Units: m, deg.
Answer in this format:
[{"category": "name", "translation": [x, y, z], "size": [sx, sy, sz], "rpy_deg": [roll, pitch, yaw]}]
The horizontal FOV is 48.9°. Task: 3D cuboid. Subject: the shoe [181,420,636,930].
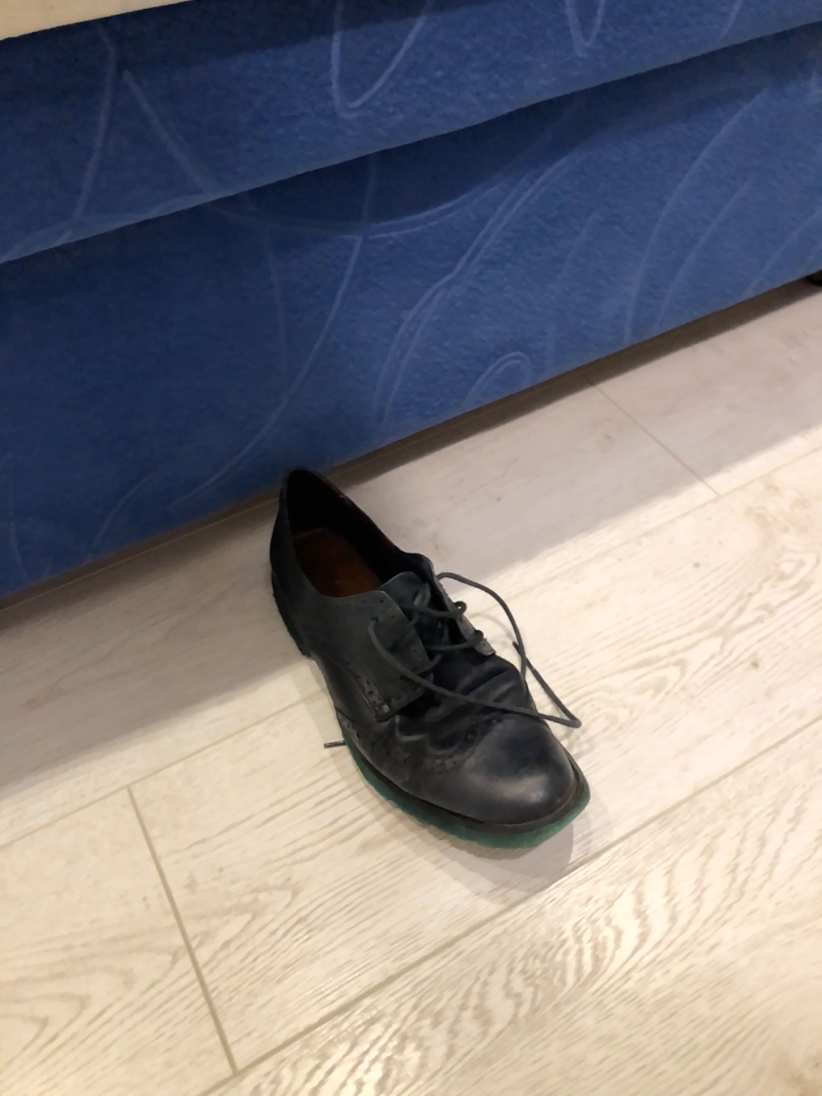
[{"category": "shoe", "translation": [-0.013, 0.052, 0.474], "size": [0.095, 0.089, 0.251], "rpy_deg": [-29, 53, -21]}]
